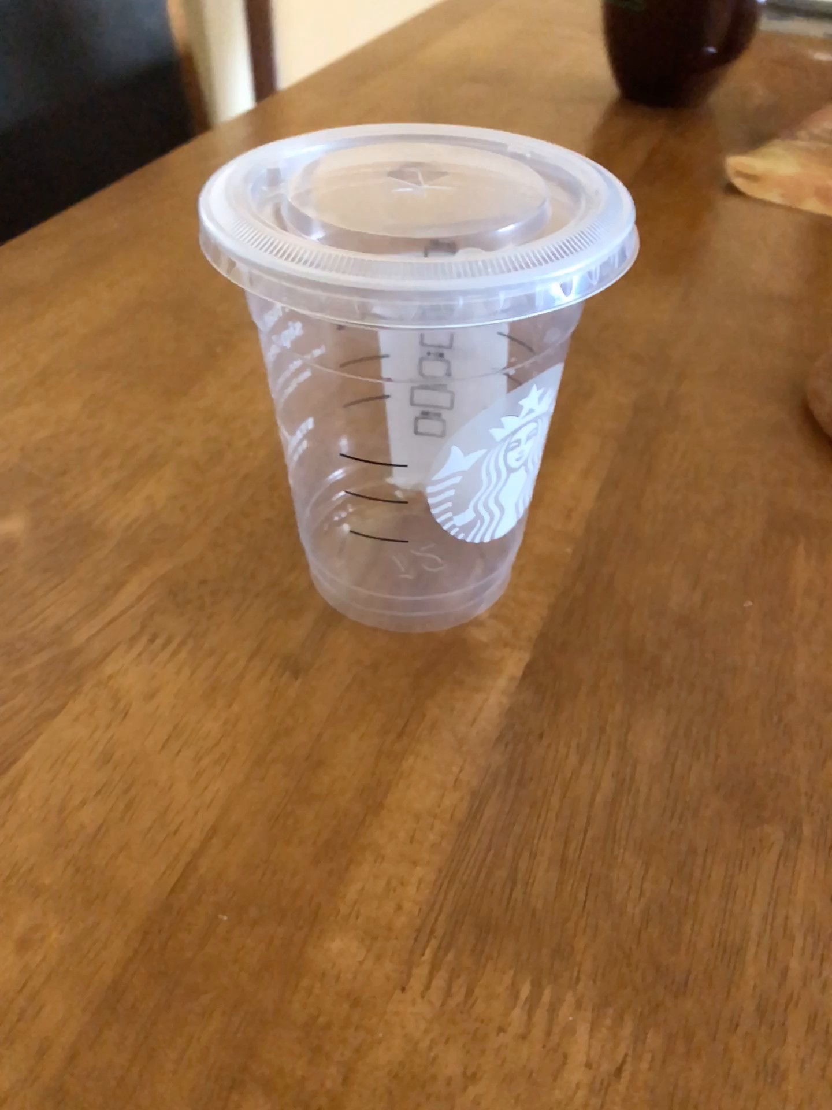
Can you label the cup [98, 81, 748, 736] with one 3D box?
[{"bbox_3d":[0.002,-0.042,0.226,0.100,0.100,0.090,-33,51,-32],"label":"cup"}]
